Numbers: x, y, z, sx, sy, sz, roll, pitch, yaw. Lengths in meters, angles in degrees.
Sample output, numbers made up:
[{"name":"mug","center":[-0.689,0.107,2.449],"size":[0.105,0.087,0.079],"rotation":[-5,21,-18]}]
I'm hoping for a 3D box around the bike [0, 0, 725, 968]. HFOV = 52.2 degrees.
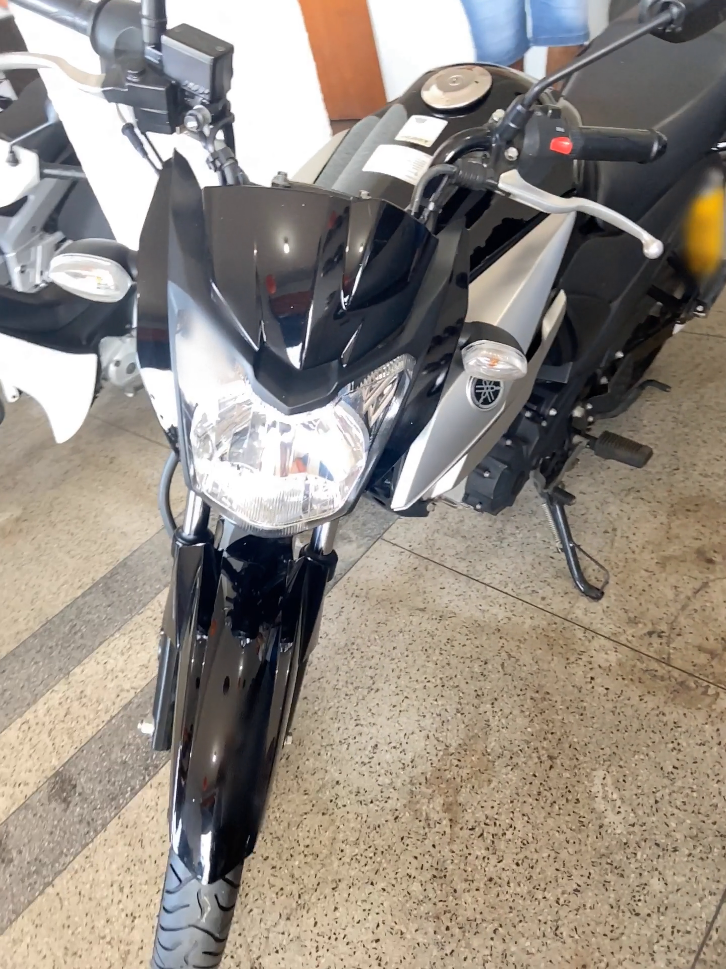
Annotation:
[{"name":"bike","center":[0.398,-0.229,1.162],"size":[0.817,1.331,2.010],"rotation":[14,47,34]}]
